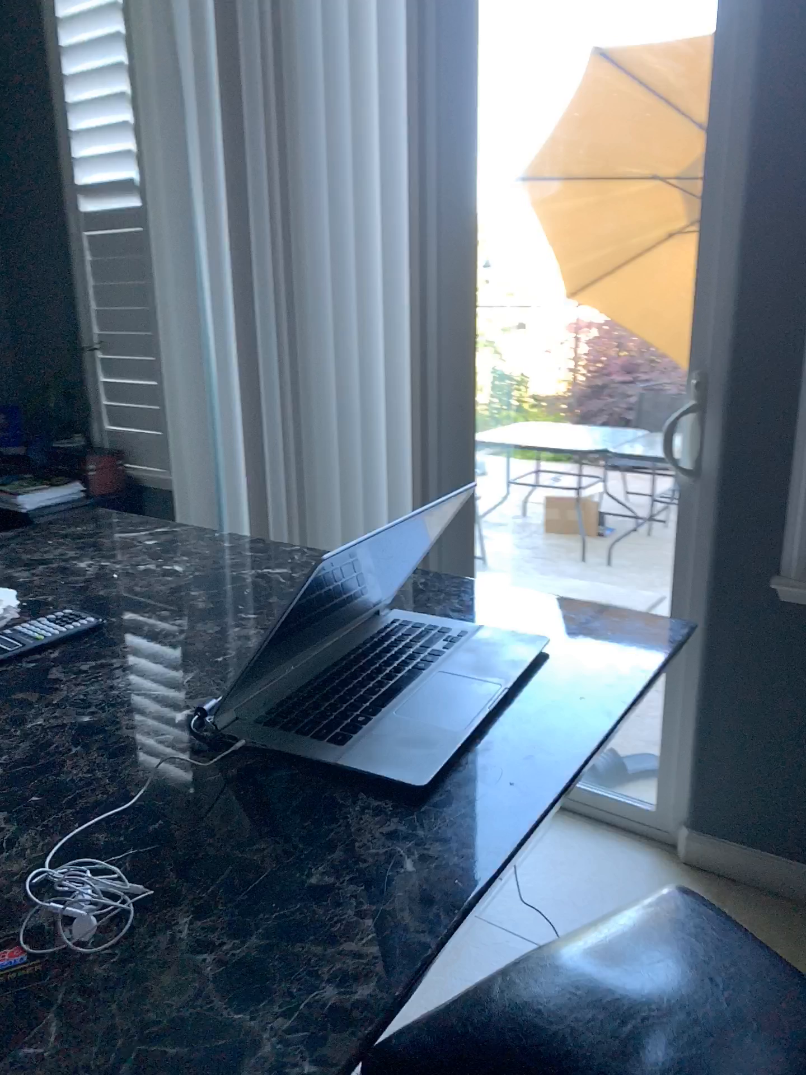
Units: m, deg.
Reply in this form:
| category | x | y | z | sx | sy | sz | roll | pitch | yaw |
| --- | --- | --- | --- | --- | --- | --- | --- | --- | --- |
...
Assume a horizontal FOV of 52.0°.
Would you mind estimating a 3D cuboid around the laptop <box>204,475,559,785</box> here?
| category | x | y | z | sx | sy | sz | roll | pitch | yaw |
| --- | --- | --- | --- | --- | --- | --- | --- | --- | --- |
| laptop | 0.000 | 0.067 | 0.909 | 0.234 | 0.188 | 0.363 | 8 | 18 | 27 |
